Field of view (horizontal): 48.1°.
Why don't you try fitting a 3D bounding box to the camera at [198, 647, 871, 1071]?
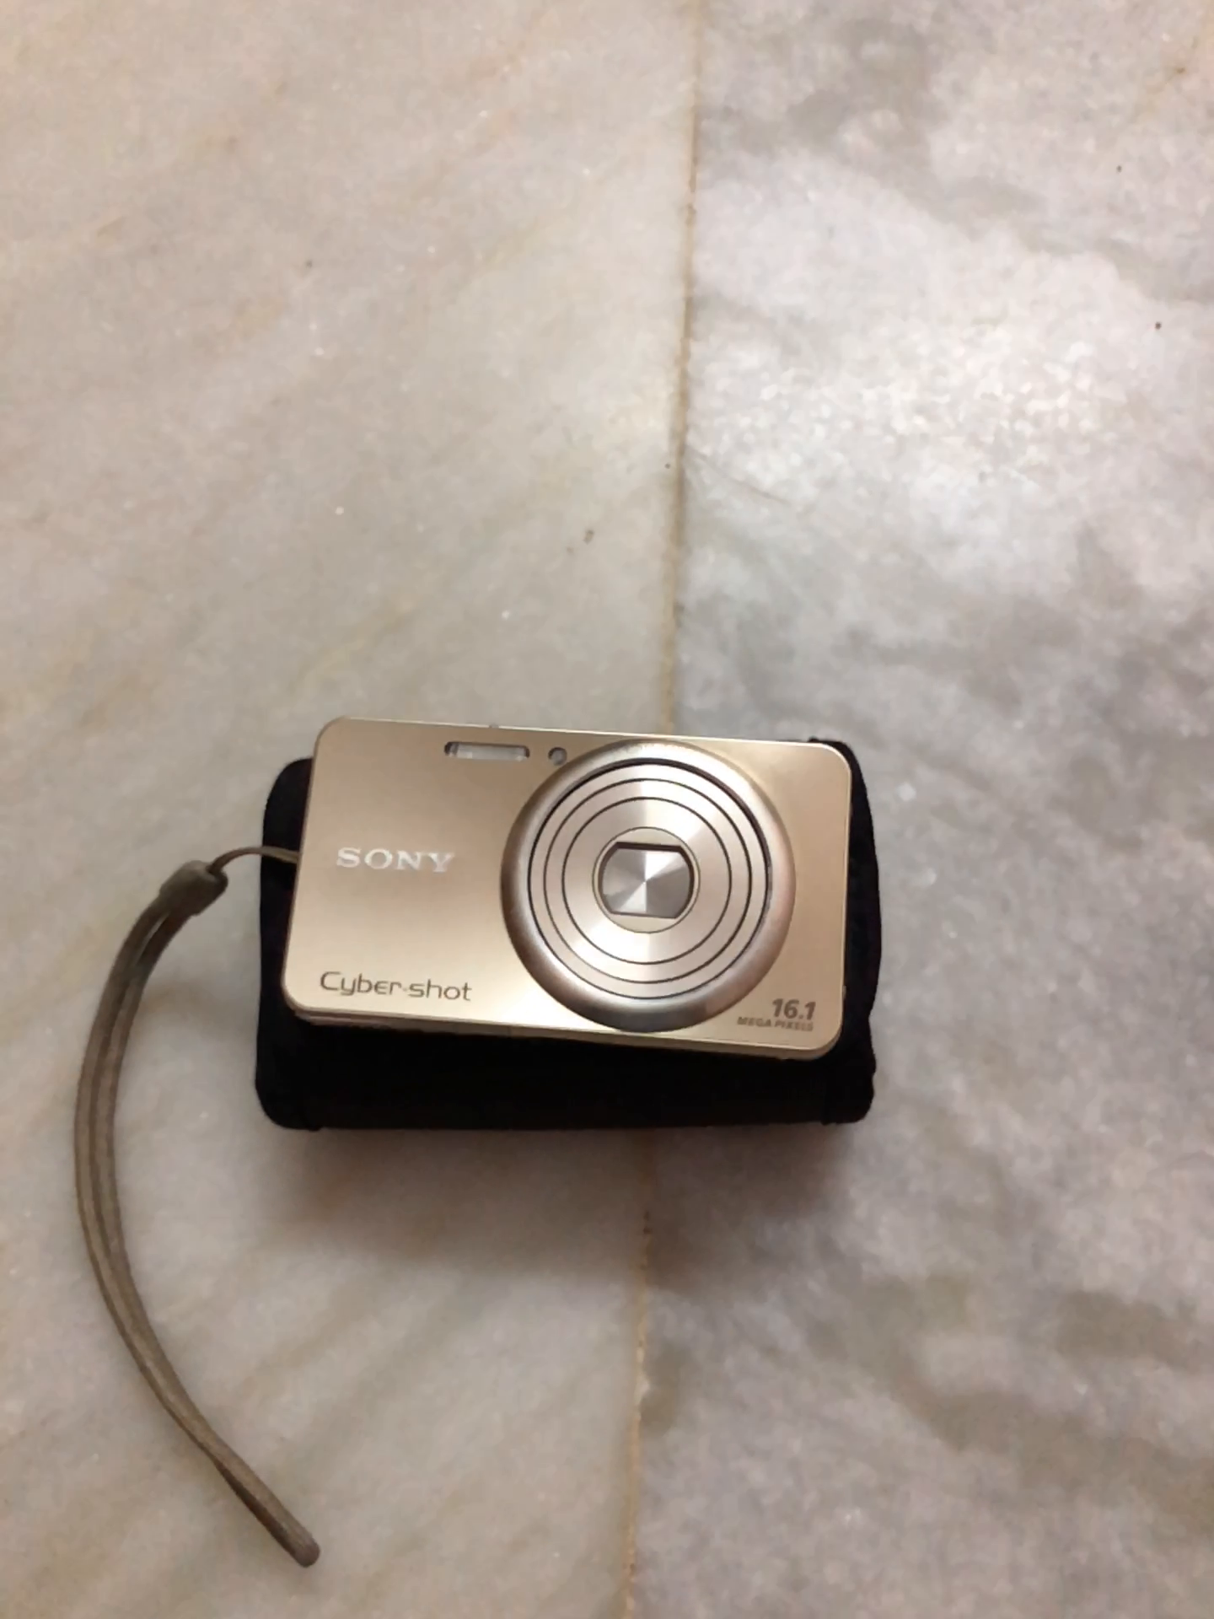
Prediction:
[{"bbox_3d":[-0.010,0.008,0.221,0.100,0.020,0.060,3,74,3],"label":"camera"}]
